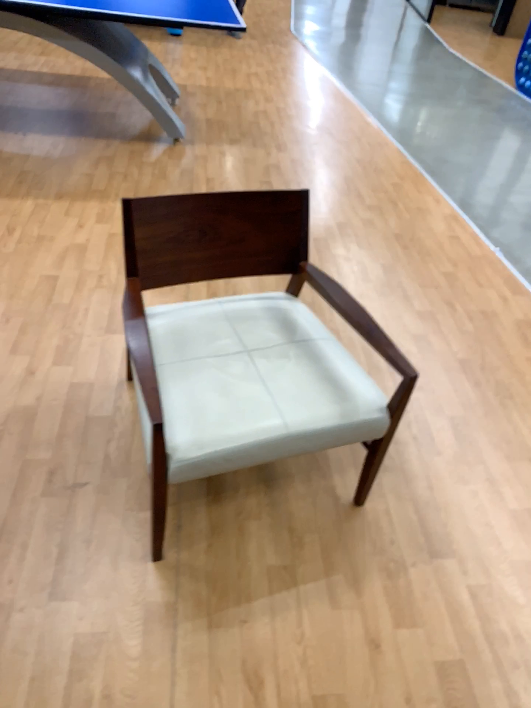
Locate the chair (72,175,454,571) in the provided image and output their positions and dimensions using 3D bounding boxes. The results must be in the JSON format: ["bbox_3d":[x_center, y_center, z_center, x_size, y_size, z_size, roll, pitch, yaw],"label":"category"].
[{"bbox_3d":[-0.088,-0.004,1.452,0.671,0.634,0.715,-9,44,-20],"label":"chair"}]
